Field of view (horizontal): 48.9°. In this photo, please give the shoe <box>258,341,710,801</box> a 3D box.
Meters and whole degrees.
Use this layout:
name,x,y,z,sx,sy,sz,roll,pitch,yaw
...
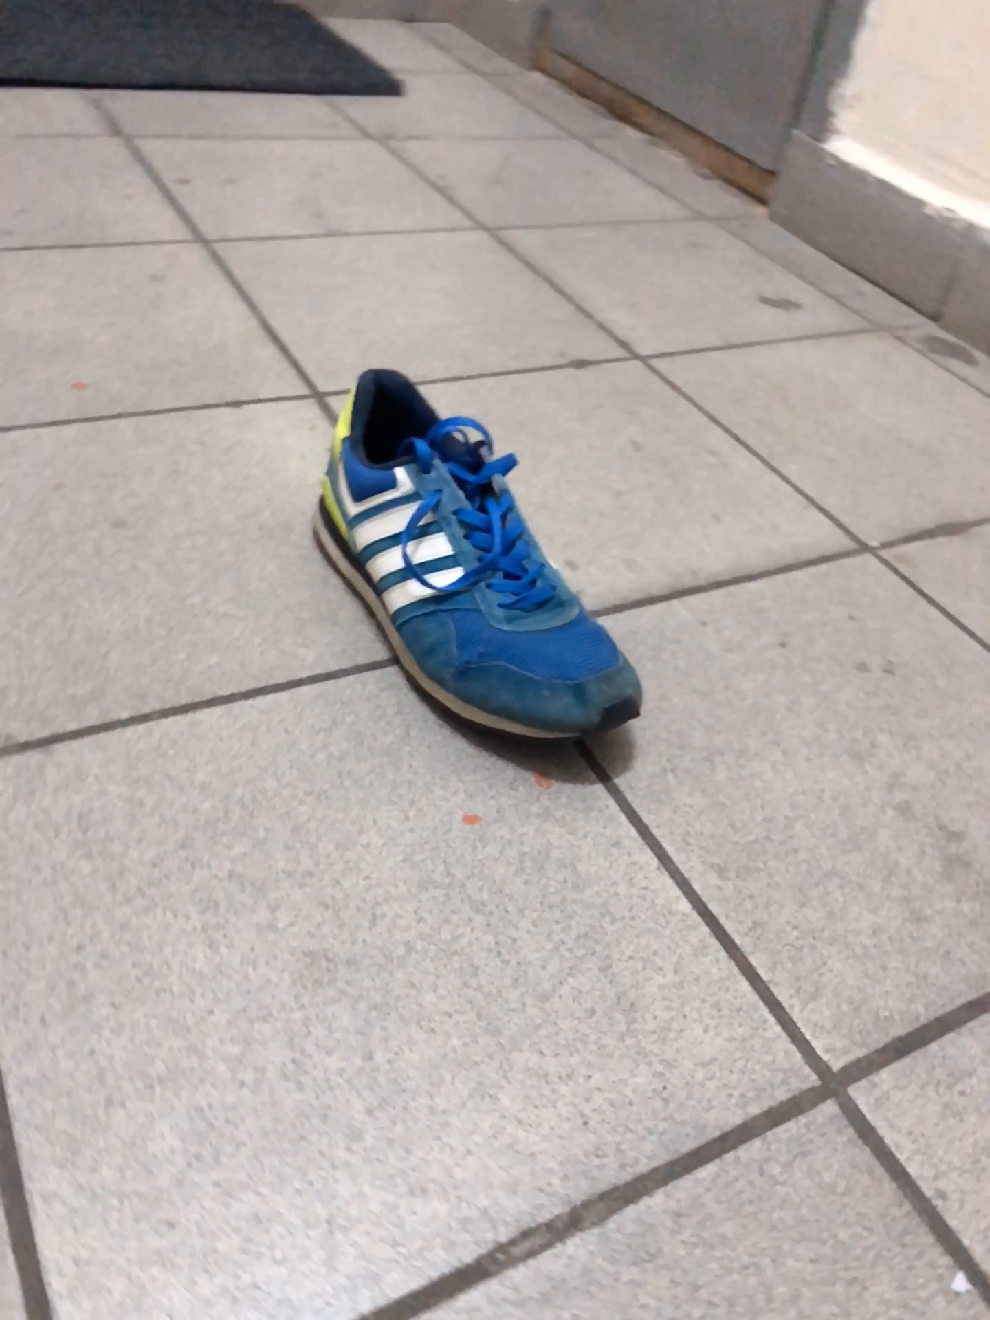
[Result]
name,x,y,z,sx,sy,sz,roll,pitch,yaw
shoe,-0.025,-0.069,0.632,0.110,0.099,0.293,-18,47,-30
